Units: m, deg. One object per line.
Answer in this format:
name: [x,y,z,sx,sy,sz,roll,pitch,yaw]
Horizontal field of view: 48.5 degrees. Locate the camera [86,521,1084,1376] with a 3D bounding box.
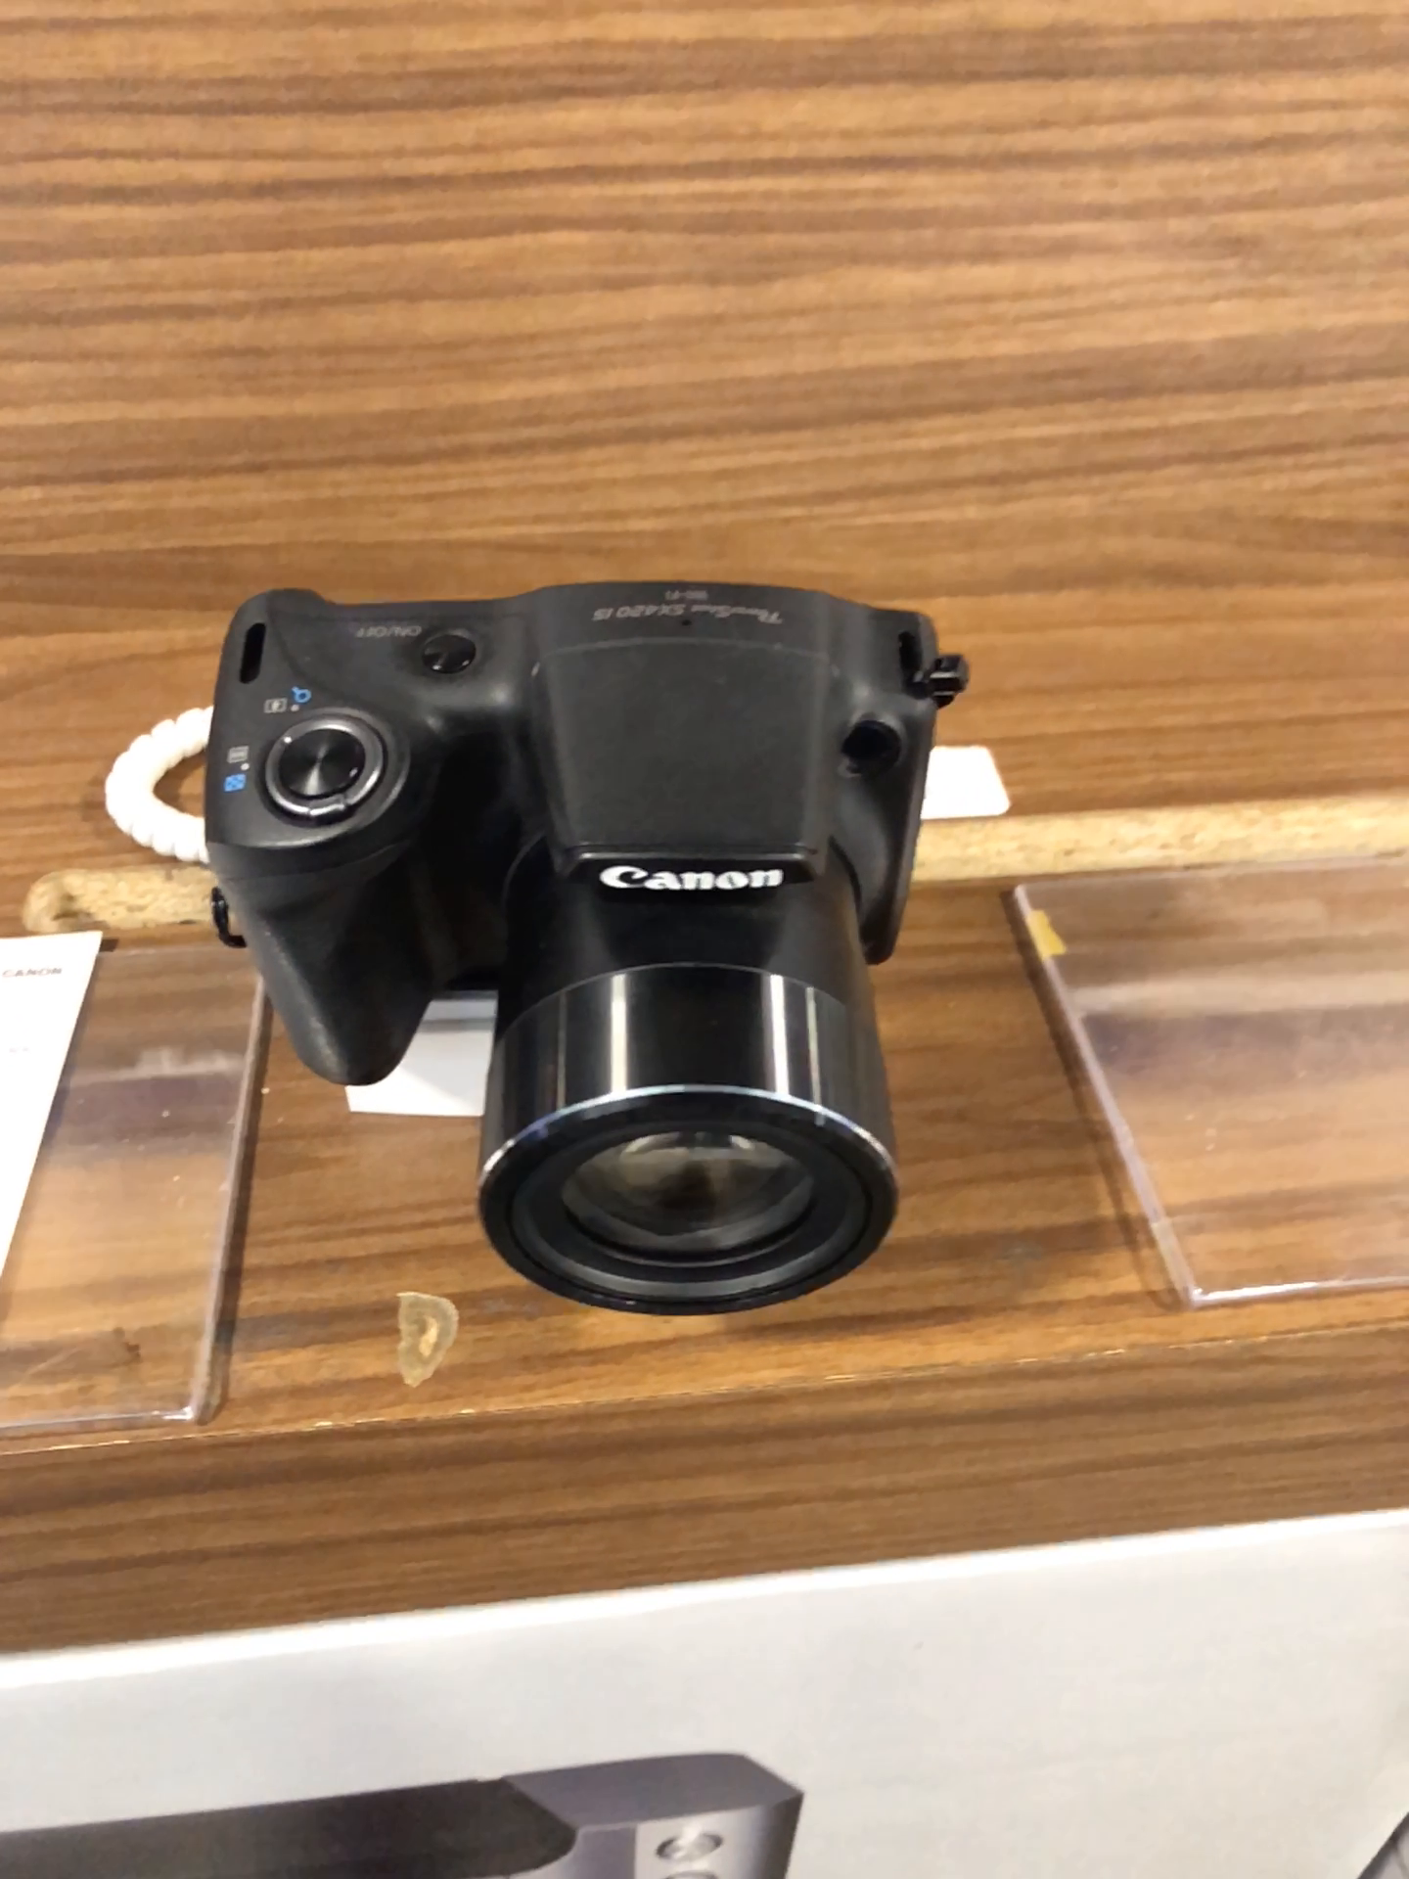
camera: [-0.016,-0.003,0.214,0.100,0.070,0.091,-3,41,-5]
